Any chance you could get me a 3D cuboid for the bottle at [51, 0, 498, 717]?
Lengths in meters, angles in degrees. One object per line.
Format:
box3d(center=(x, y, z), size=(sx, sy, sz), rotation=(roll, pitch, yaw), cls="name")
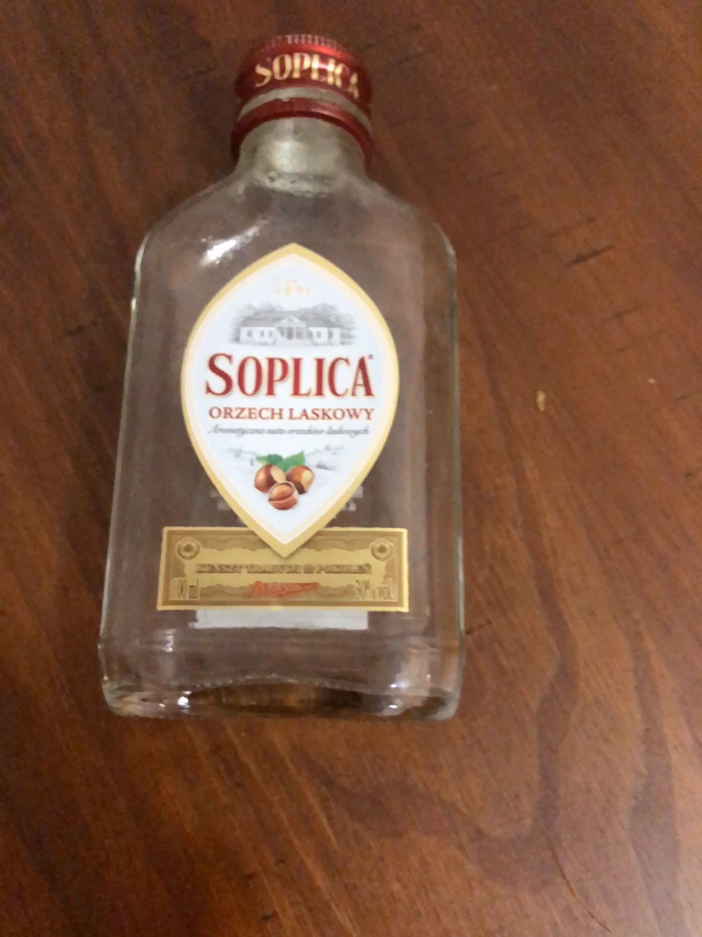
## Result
box3d(center=(-0.012, -0.029, 0.162), size=(0.070, 0.030, 0.150), rotation=(0, 73, 0), cls="bottle")
